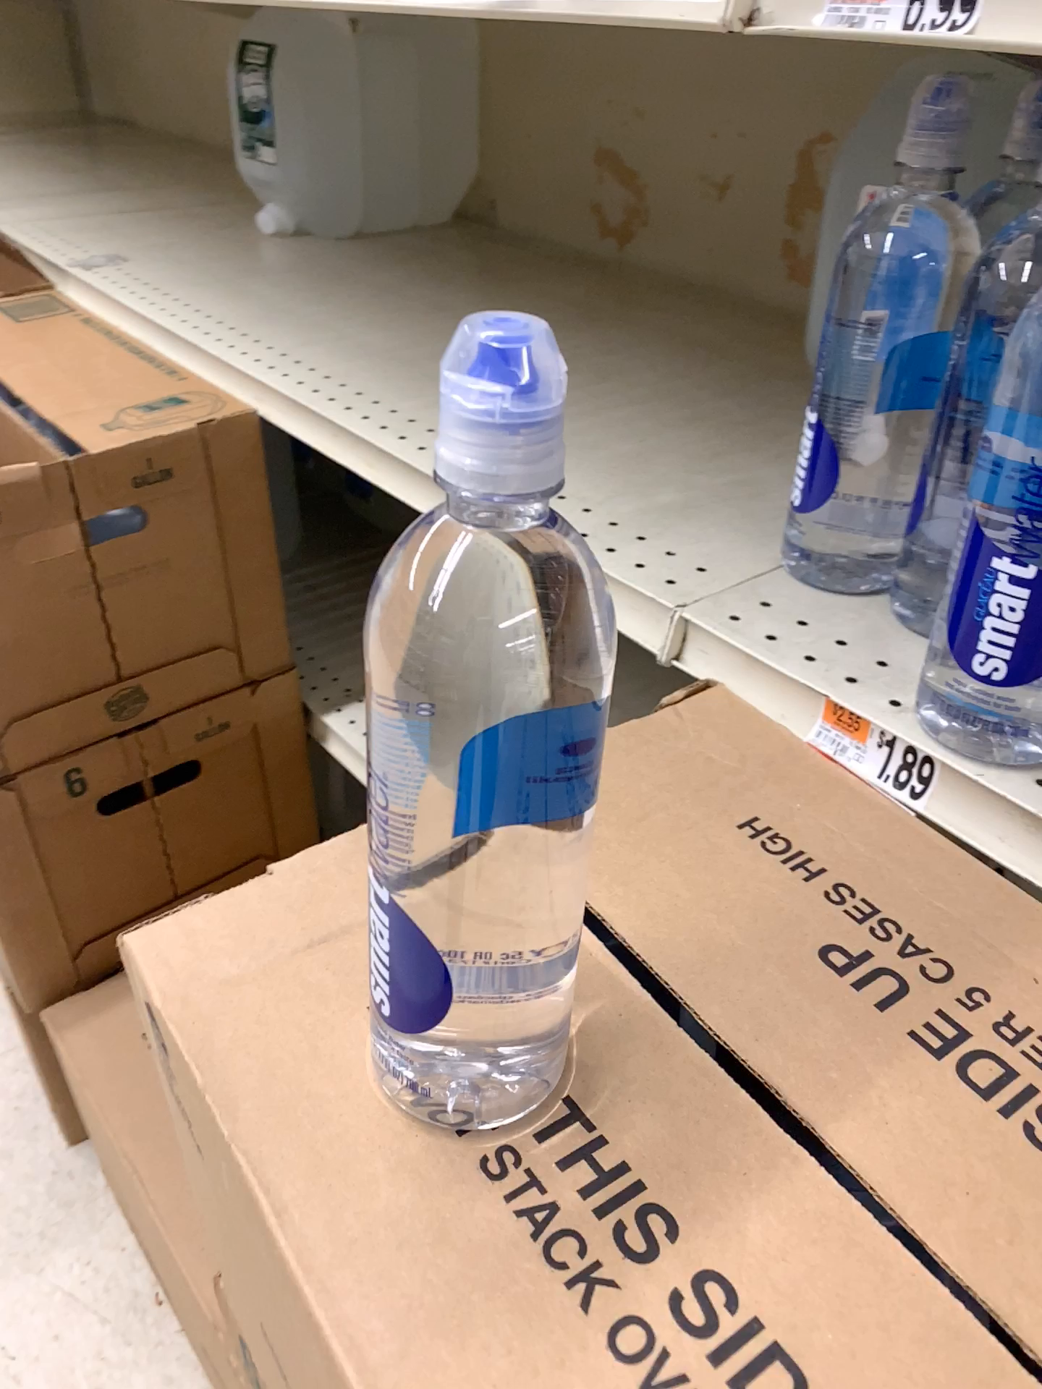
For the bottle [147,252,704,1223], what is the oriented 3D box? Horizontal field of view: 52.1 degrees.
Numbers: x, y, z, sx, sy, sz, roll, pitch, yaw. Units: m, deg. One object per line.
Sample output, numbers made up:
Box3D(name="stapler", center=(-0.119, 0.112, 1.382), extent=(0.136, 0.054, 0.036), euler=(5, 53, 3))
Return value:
Box3D(name="bottle", center=(-0.025, 0.020, 0.301), extent=(0.090, 0.249, 0.090), euler=(1, 34, 0))
